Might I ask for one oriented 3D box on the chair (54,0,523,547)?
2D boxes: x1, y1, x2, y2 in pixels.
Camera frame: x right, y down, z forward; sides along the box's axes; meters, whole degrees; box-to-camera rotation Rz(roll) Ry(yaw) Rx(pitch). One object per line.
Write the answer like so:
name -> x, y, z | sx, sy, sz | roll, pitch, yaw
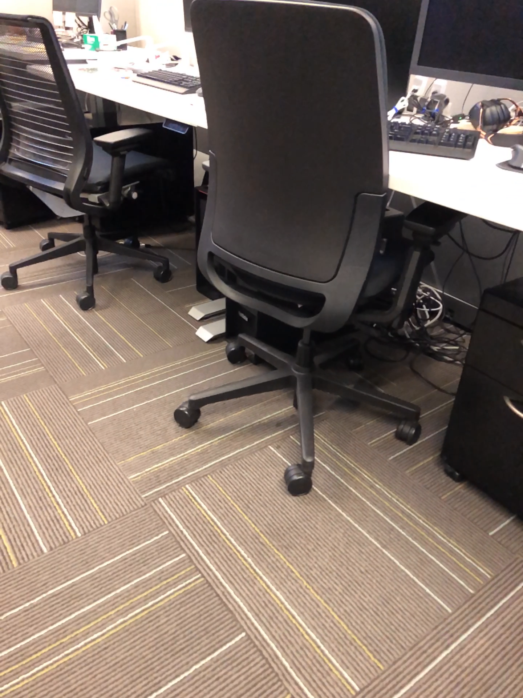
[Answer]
chair -> 0.031, -0.278, 1.393 | 0.662, 1.014, 0.783 | -19, 37, -33
